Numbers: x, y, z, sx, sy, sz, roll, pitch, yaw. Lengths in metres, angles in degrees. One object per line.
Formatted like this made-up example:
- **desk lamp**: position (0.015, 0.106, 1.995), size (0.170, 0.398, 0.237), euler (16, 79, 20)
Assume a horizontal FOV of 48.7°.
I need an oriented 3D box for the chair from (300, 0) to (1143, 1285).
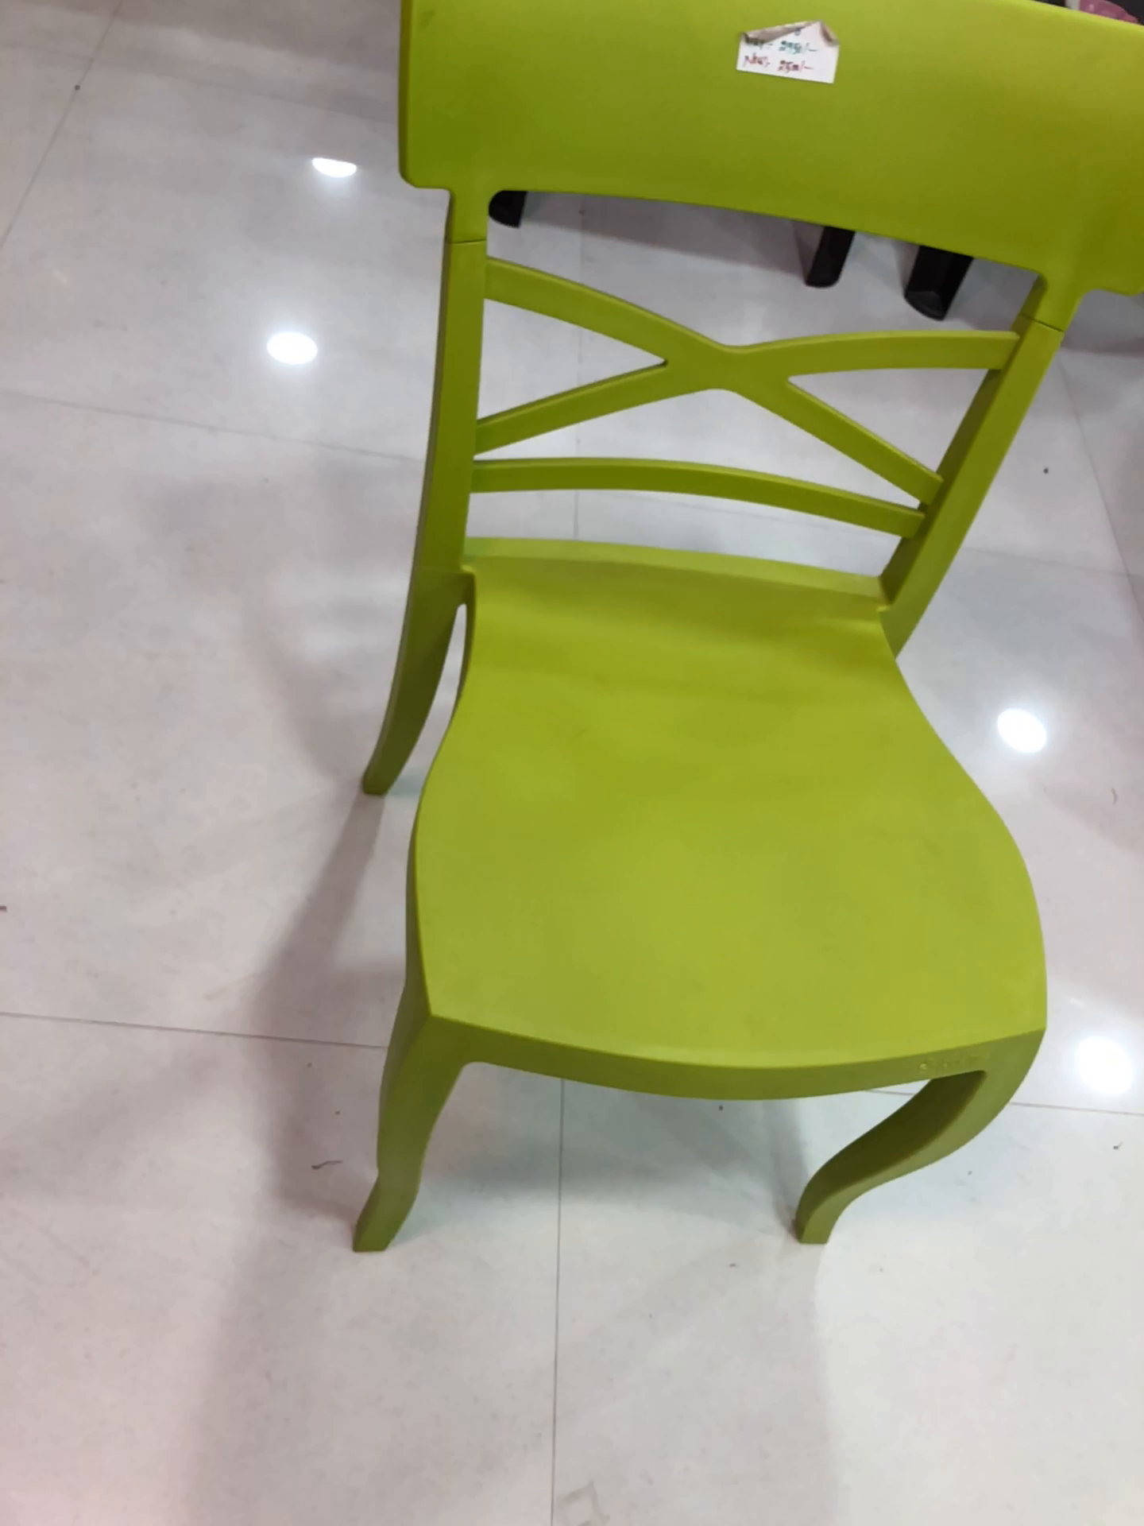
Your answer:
- **chair**: position (0.099, -0.064, 0.872), size (0.501, 0.805, 0.613), euler (4, 54, -10)
